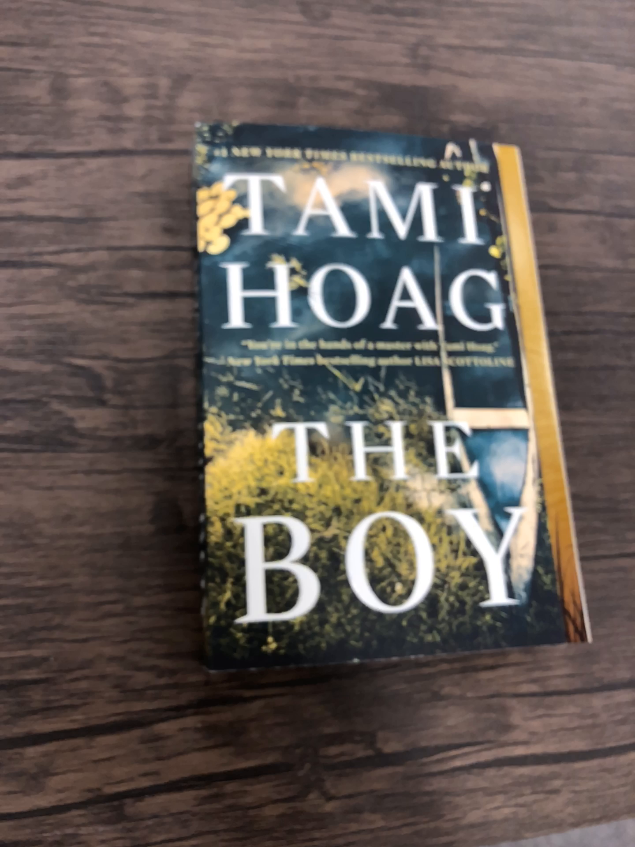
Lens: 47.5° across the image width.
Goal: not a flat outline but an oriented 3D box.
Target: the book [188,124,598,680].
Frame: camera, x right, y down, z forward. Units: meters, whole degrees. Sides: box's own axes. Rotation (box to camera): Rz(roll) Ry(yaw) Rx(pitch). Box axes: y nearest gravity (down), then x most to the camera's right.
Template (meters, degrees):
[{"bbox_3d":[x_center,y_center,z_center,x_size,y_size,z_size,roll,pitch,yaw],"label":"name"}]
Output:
[{"bbox_3d":[0.022,-0.014,0.280,0.139,0.032,0.202,-1,76,-10],"label":"book"}]
